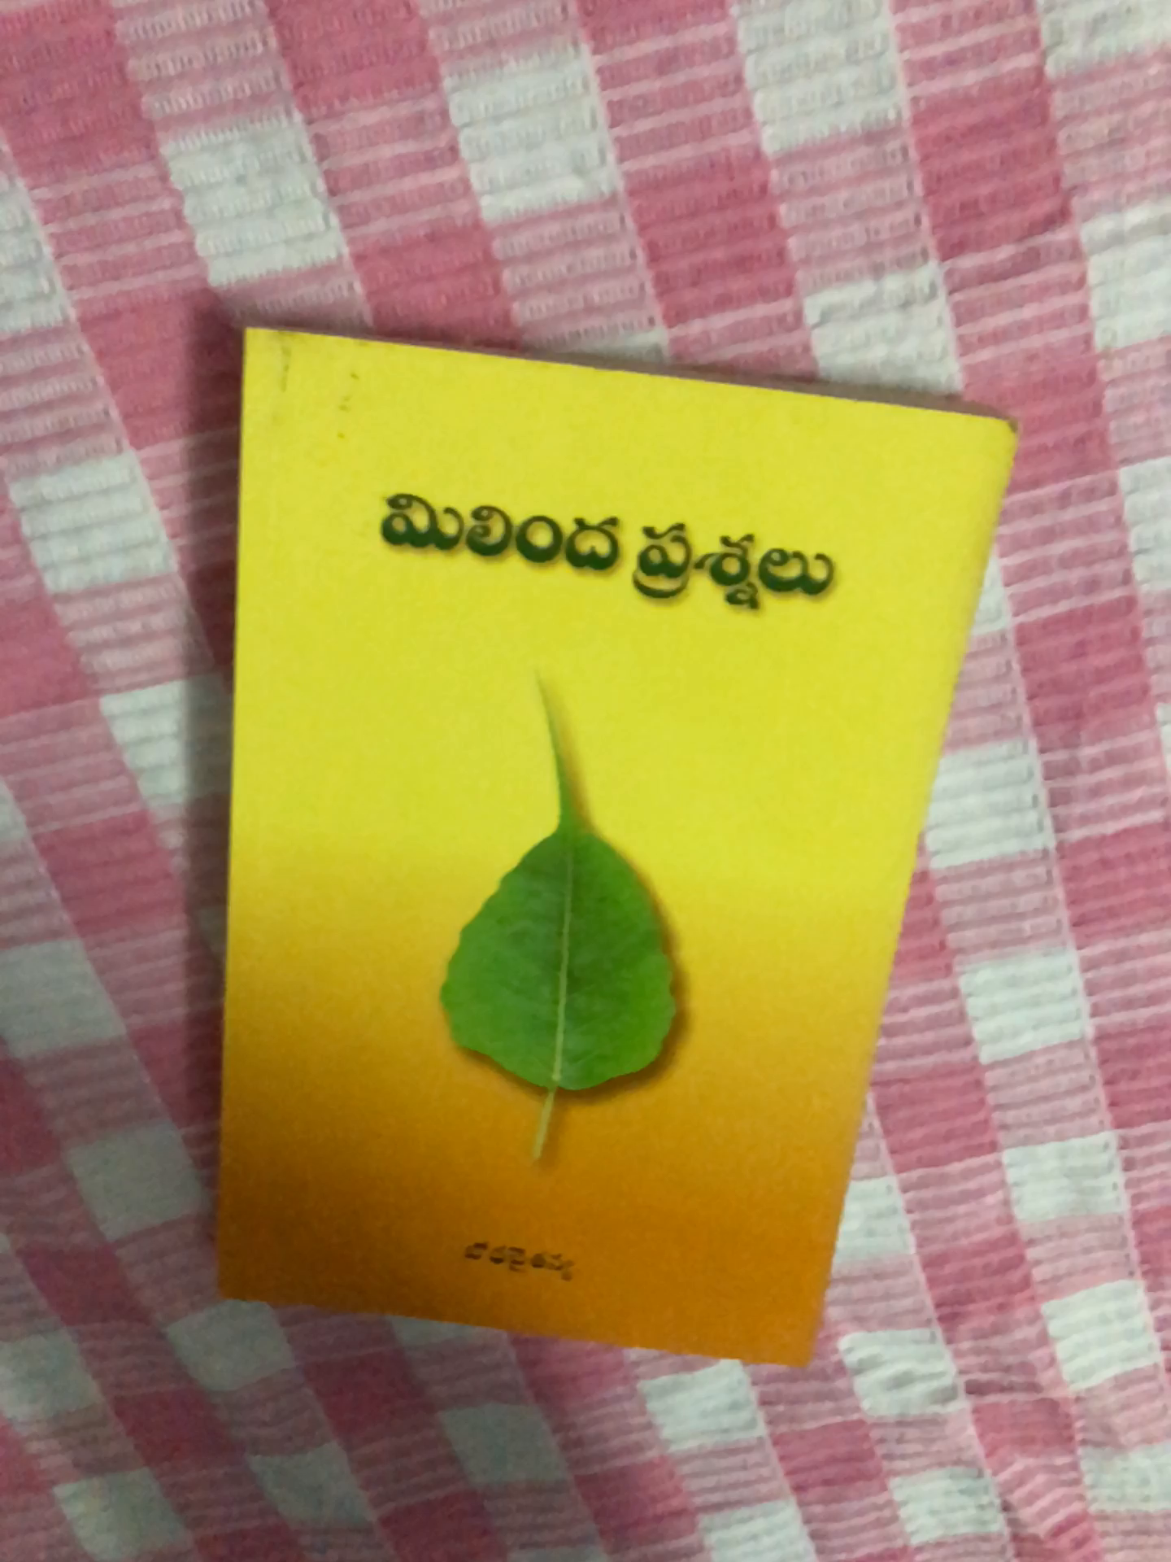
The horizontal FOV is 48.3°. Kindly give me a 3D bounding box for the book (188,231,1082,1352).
[{"bbox_3d":[-0.002,0.016,0.267,0.150,0.020,0.221,6,110,-3],"label":"book"}]
